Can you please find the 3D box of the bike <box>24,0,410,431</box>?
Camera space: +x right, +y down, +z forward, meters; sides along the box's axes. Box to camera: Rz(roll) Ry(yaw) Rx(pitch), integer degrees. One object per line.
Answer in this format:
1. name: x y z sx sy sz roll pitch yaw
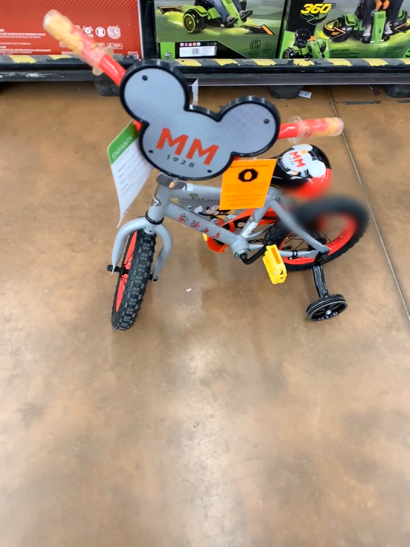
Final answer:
1. bike: 0.112 -0.112 0.902 0.679 0.742 0.450 -22 60 -13
